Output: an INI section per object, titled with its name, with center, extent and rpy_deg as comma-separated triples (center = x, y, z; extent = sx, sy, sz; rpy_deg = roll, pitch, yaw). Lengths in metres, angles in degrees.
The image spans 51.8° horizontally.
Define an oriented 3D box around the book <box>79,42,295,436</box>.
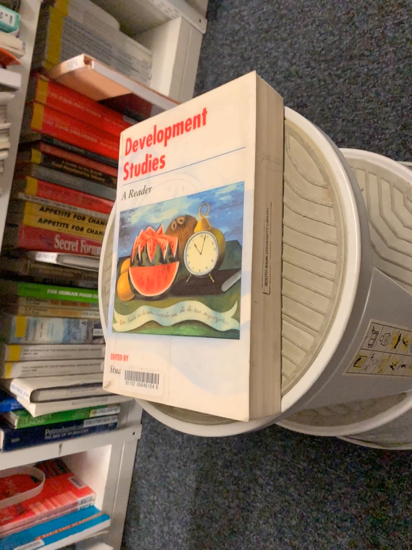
[book]
center = -0.020, -0.020, 0.307
extent = 0.160, 0.045, 0.224
rpy_deg = -4, 81, 41
